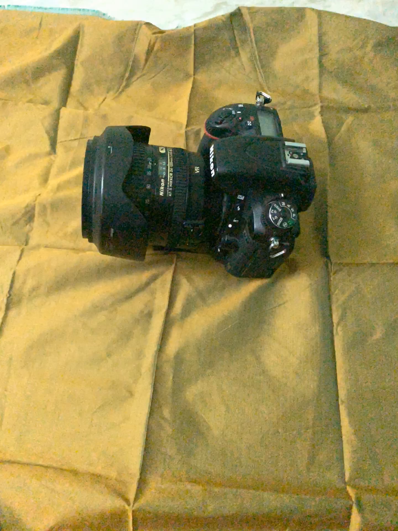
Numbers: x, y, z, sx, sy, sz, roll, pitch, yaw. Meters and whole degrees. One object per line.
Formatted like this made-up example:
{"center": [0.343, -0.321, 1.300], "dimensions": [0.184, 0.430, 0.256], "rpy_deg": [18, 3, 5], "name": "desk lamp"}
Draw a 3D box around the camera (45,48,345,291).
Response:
{"center": [-0.005, -0.070, 0.334], "dimensions": [0.192, 0.100, 0.140], "rpy_deg": [5, 63, -9], "name": "camera"}
